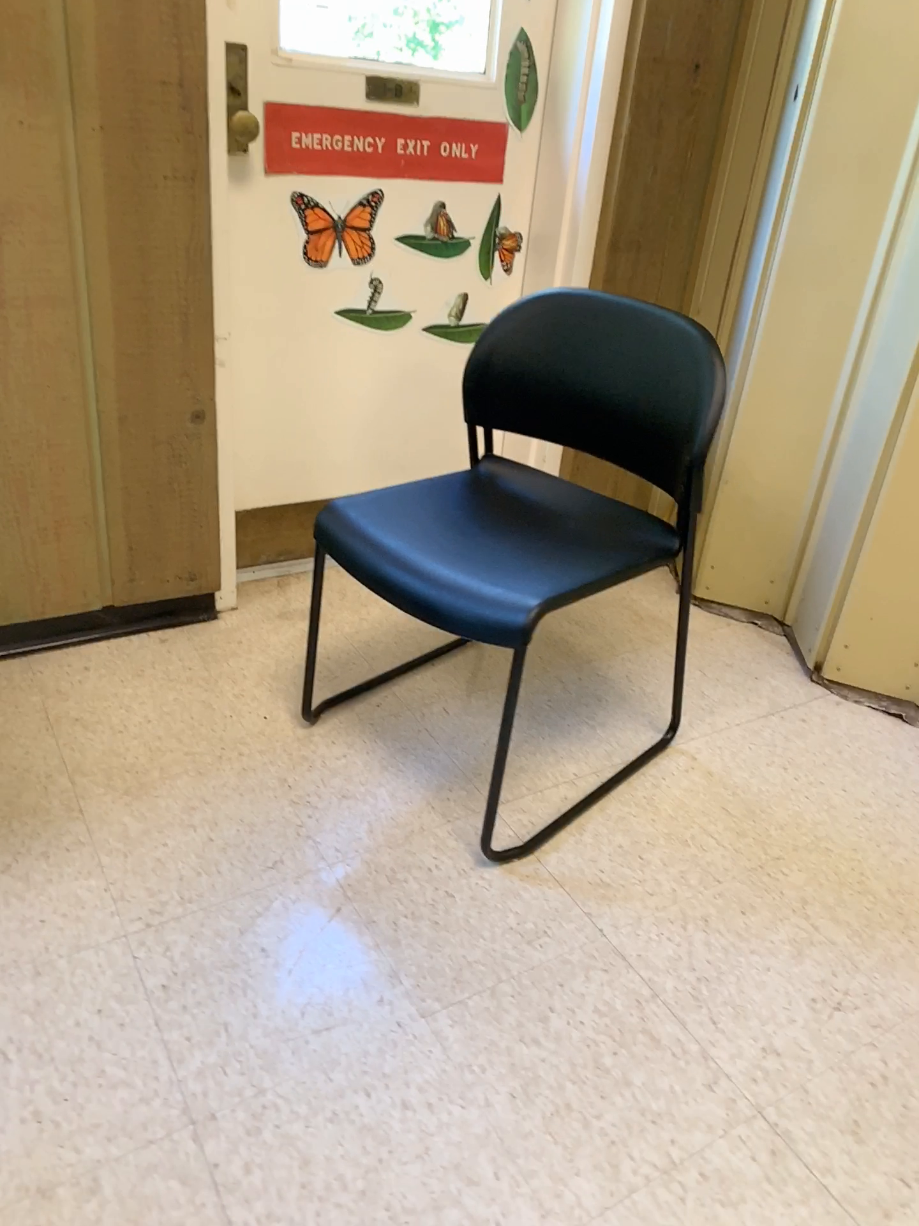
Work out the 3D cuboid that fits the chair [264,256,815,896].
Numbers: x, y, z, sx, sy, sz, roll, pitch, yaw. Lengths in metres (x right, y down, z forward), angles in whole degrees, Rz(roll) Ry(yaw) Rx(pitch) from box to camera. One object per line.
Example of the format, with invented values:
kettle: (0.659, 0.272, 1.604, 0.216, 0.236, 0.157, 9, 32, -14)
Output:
chair: (0.098, -0.128, 1.608, 0.582, 0.795, 0.622, 27, 34, 33)
